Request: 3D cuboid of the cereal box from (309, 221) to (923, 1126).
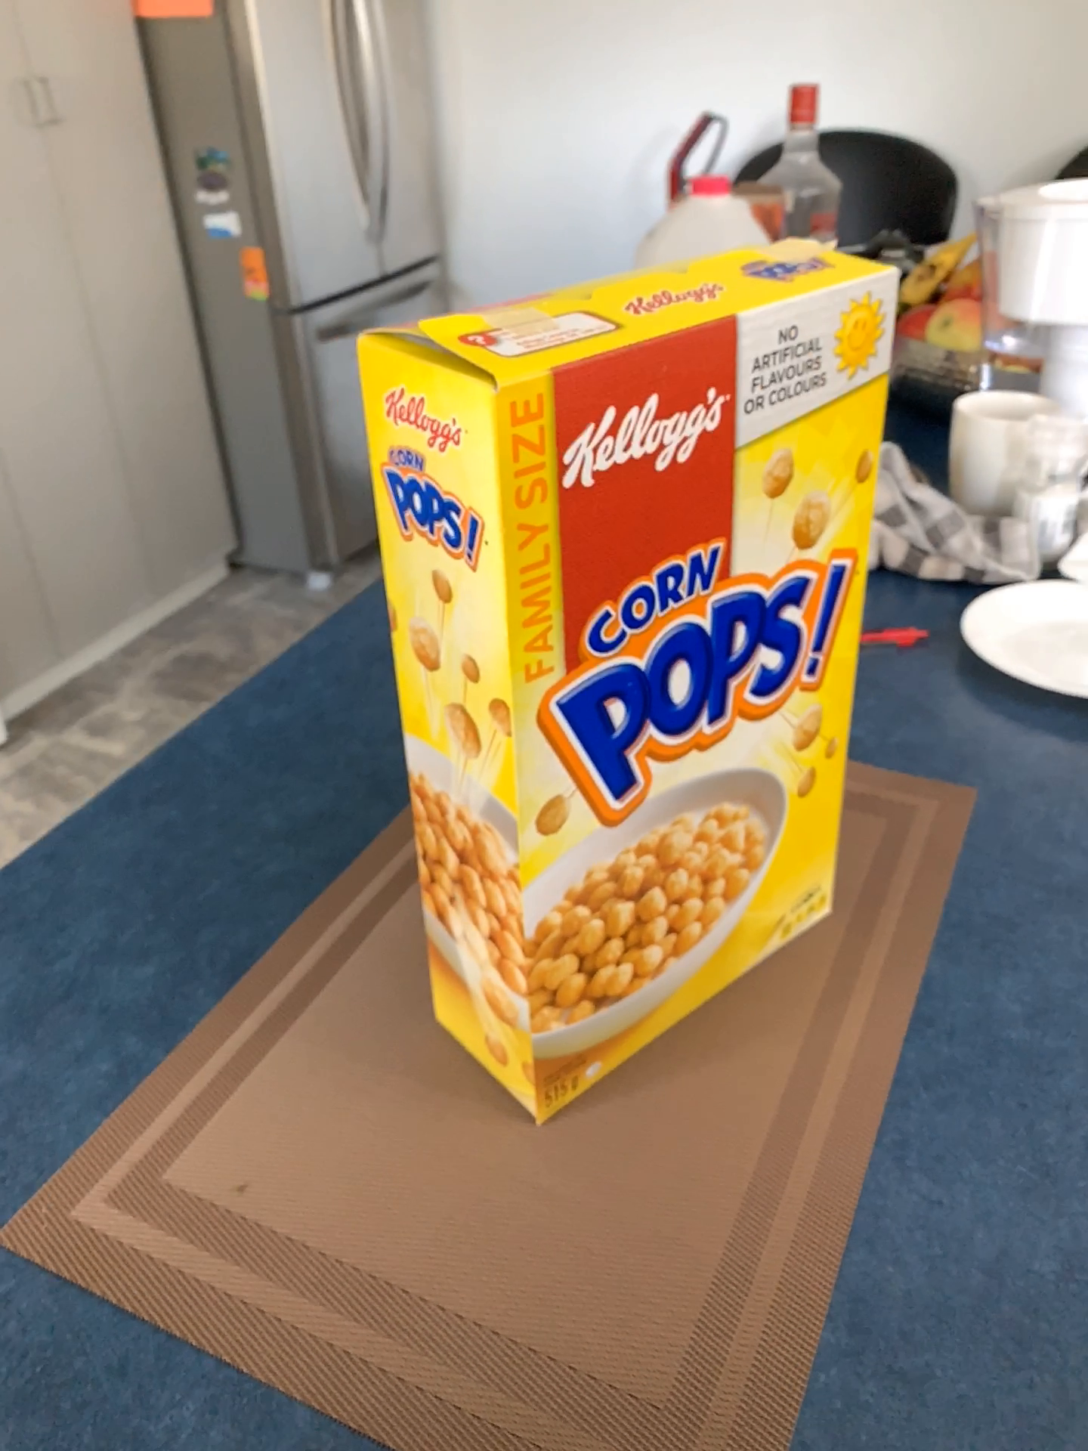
[{"bbox_3d":[0.040,-0.024,0.478,0.211,0.317,0.090,-25,37,-32],"label":"cereal box"}]
